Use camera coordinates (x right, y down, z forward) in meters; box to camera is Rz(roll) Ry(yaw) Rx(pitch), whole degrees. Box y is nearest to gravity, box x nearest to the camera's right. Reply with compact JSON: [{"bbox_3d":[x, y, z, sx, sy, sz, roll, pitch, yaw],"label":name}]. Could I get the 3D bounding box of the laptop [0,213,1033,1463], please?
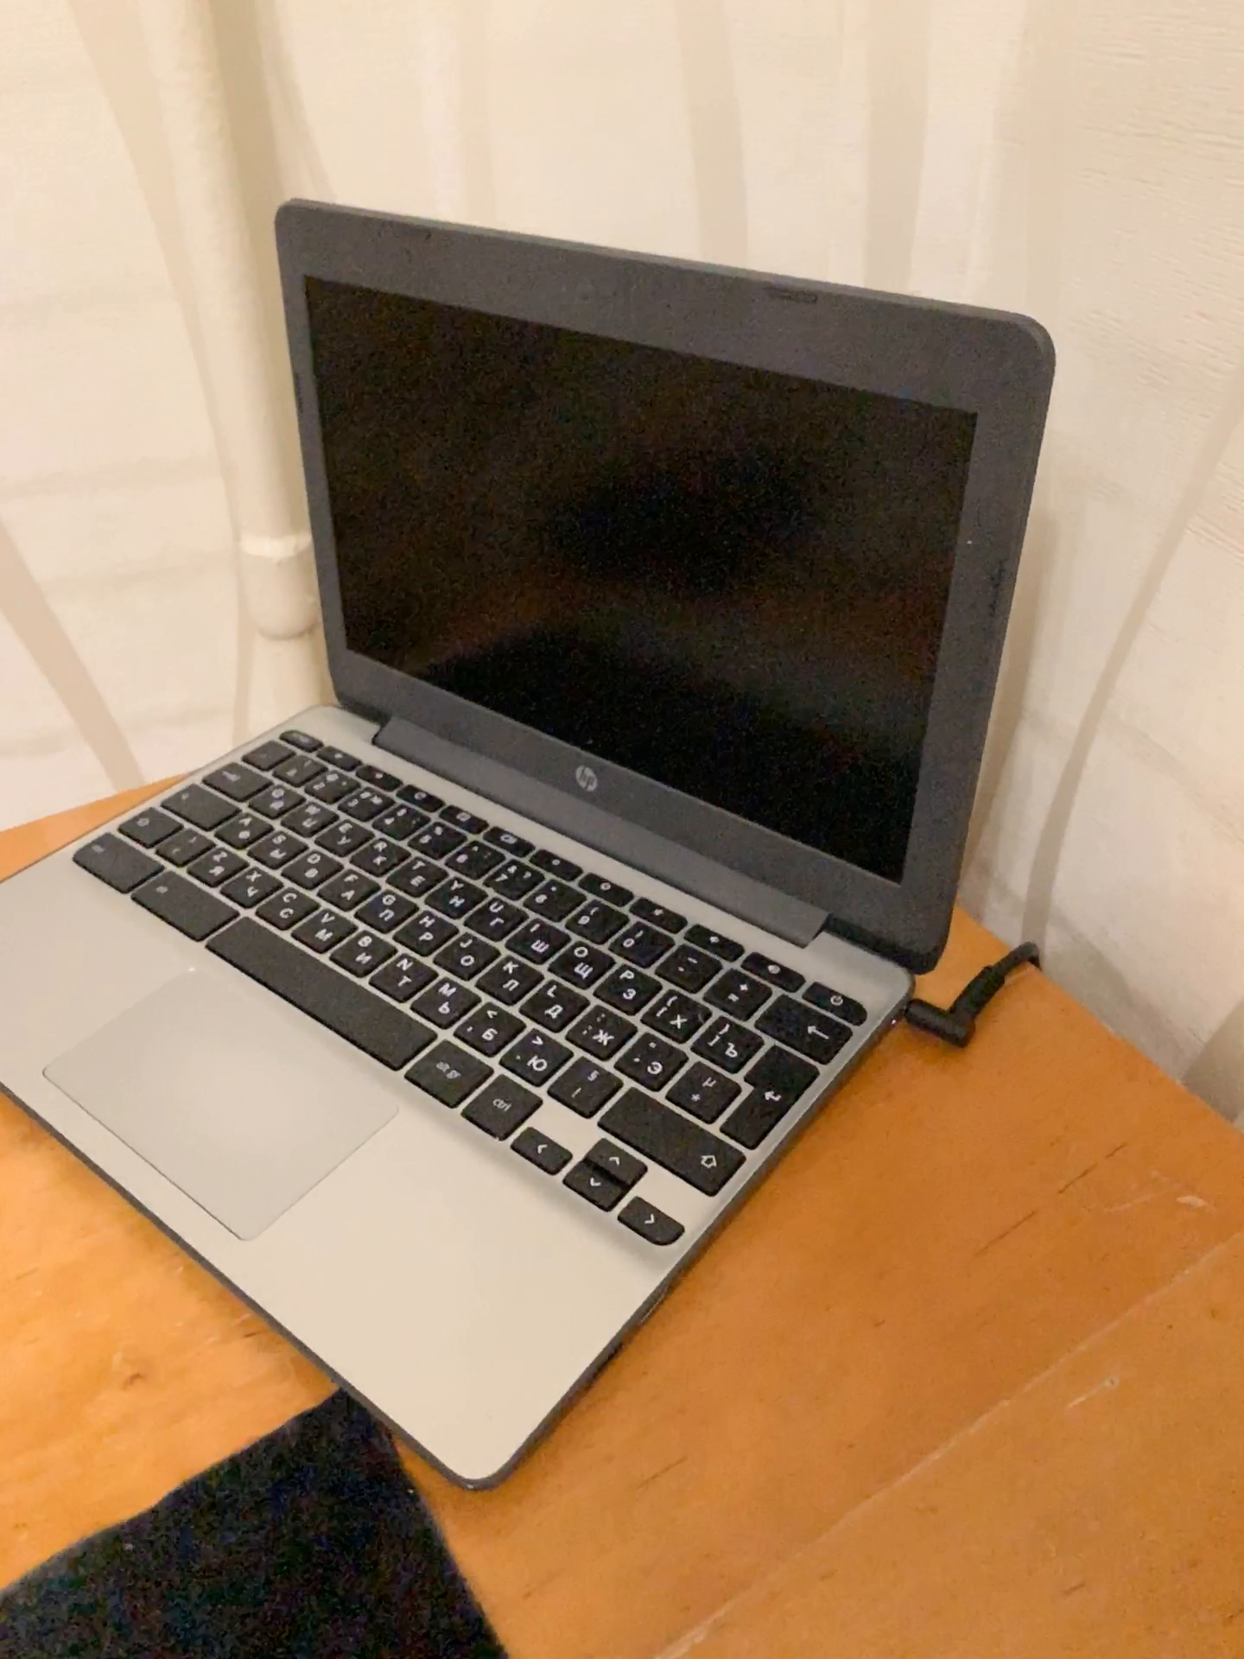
[{"bbox_3d":[-0.074,-0.035,0.356,0.272,0.187,0.207,25,44,31],"label":"laptop"}]
